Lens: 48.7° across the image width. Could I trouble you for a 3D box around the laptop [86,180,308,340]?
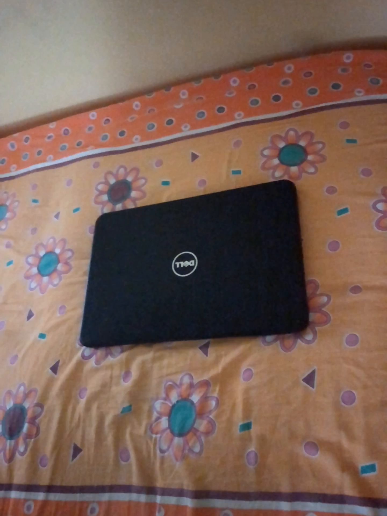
[{"bbox_3d":[-0.010,0.005,0.699,0.359,0.001,0.236,-8,64,19],"label":"laptop"}]
